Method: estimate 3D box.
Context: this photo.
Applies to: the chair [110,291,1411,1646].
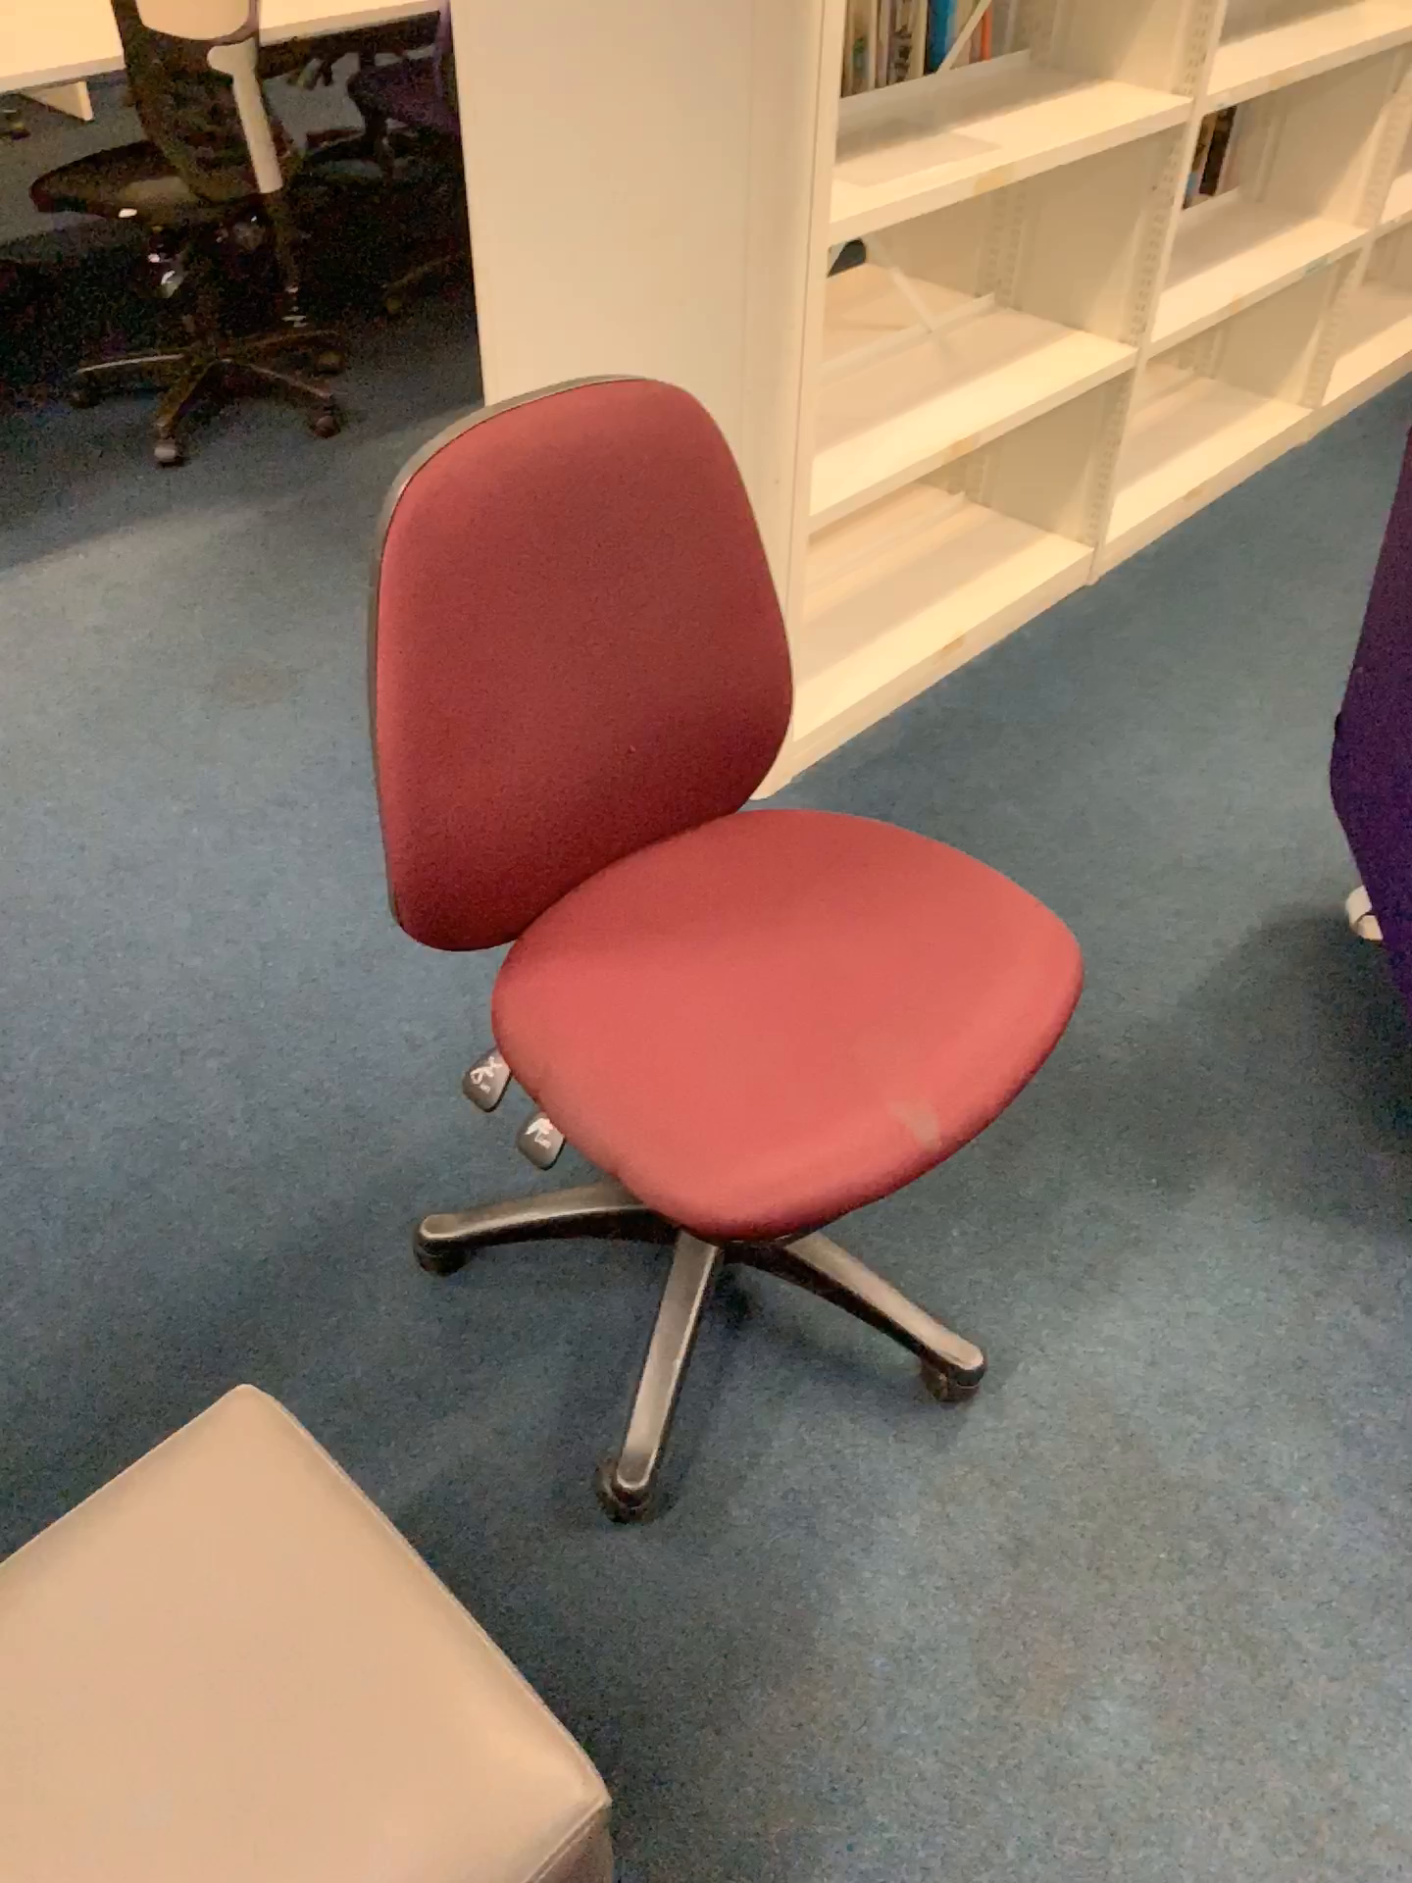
[{"bbox_3d":[0.023,-0.016,1.299,0.653,0.783,0.694,-30,52,-30],"label":"chair"}]
